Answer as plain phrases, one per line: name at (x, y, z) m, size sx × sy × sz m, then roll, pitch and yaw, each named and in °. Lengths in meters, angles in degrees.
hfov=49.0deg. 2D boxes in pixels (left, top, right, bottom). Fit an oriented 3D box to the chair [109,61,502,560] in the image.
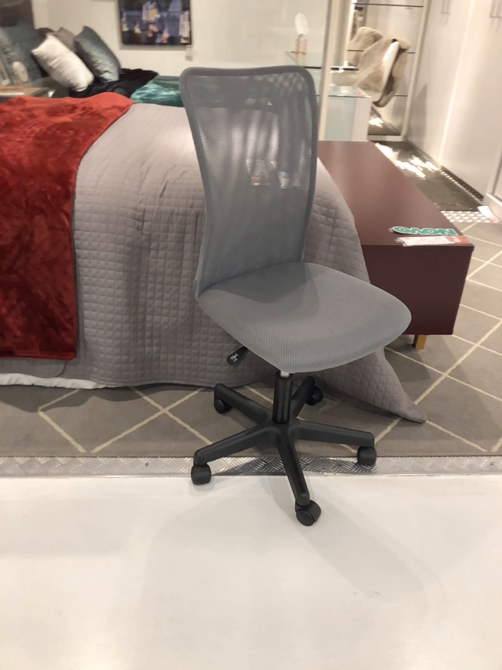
chair at (0.072, -0.116, 1.358) m, size 0.562 × 0.942 × 0.643 m, roll -15°, pitch 35°, yaw -27°
